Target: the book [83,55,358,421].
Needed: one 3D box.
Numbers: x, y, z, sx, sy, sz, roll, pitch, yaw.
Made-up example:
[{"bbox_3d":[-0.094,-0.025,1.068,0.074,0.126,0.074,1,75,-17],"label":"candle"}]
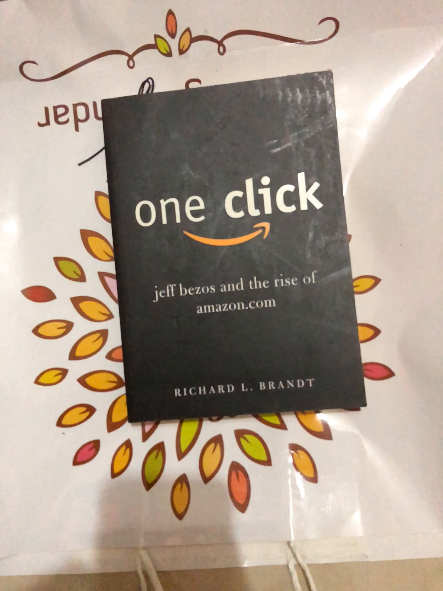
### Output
[{"bbox_3d":[-0.005,-0.036,0.324,0.160,0.020,0.220,-5,85,7],"label":"book"}]
